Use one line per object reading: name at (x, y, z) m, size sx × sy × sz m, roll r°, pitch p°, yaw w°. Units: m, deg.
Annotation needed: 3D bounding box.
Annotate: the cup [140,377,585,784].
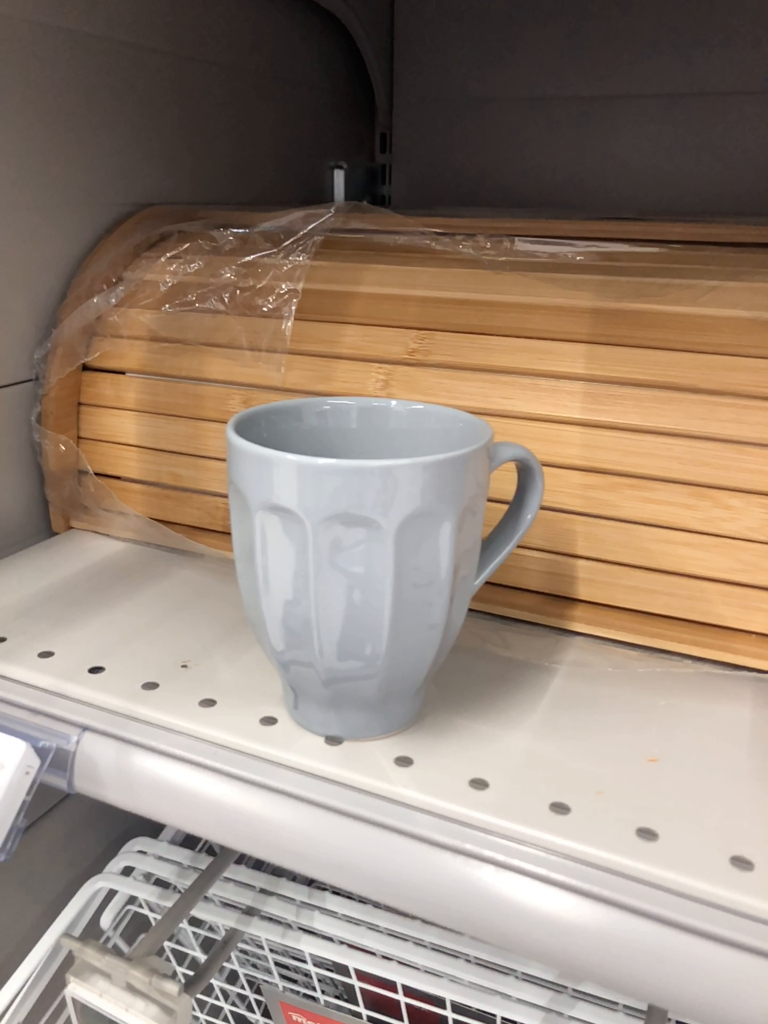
cup at (-0.010, 0.012, 0.296) m, size 0.117 × 0.091 × 0.092 m, roll -11°, pitch 23°, yaw -30°
